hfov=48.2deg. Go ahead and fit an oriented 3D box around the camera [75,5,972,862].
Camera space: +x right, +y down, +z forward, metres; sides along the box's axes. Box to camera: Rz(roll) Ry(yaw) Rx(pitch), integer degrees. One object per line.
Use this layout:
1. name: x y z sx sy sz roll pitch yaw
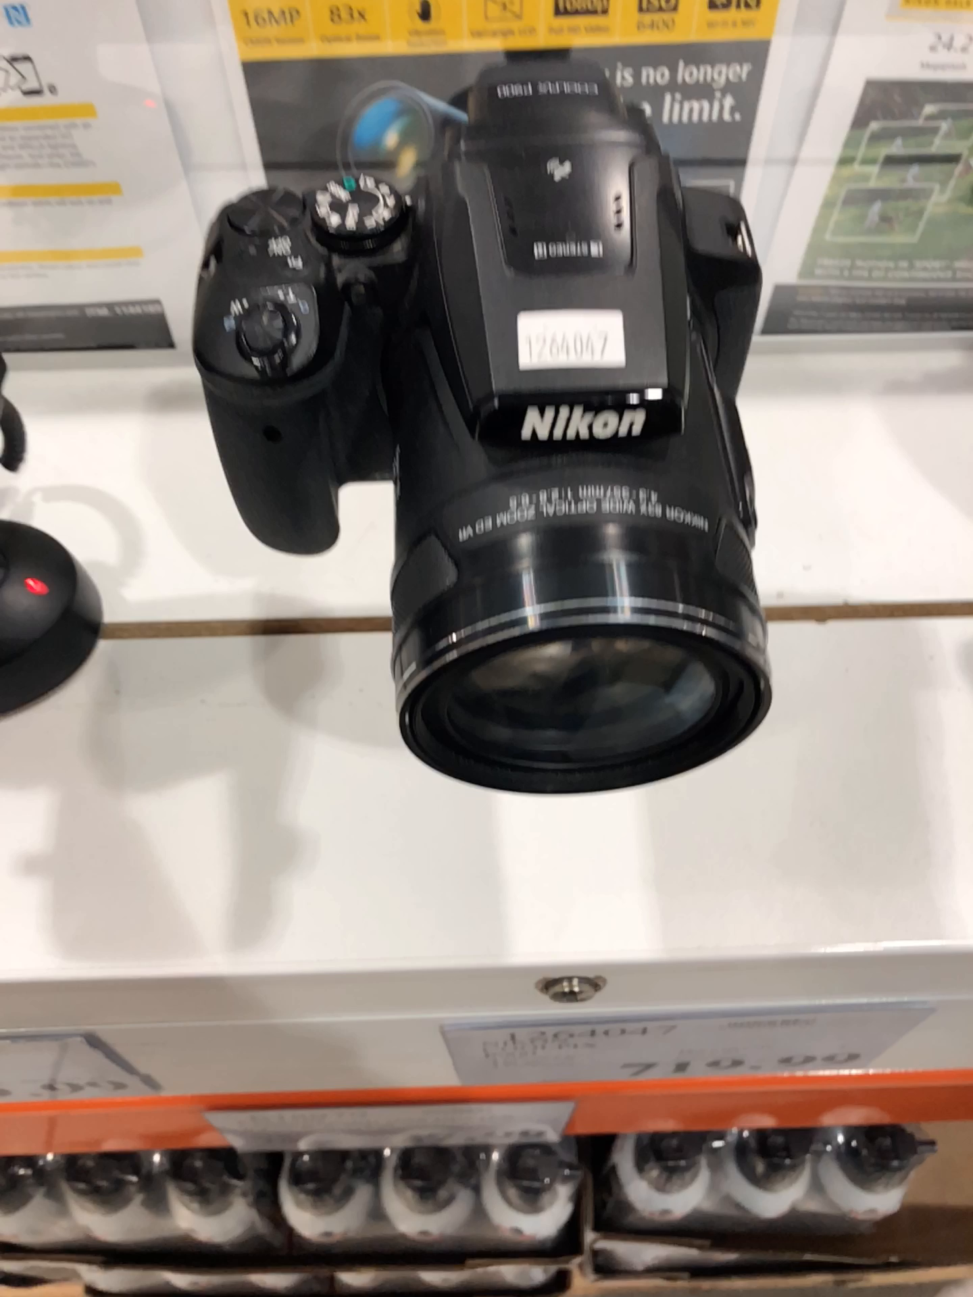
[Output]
1. camera: 0.005 -0.051 0.245 0.140 0.100 0.160 -3 56 -2
